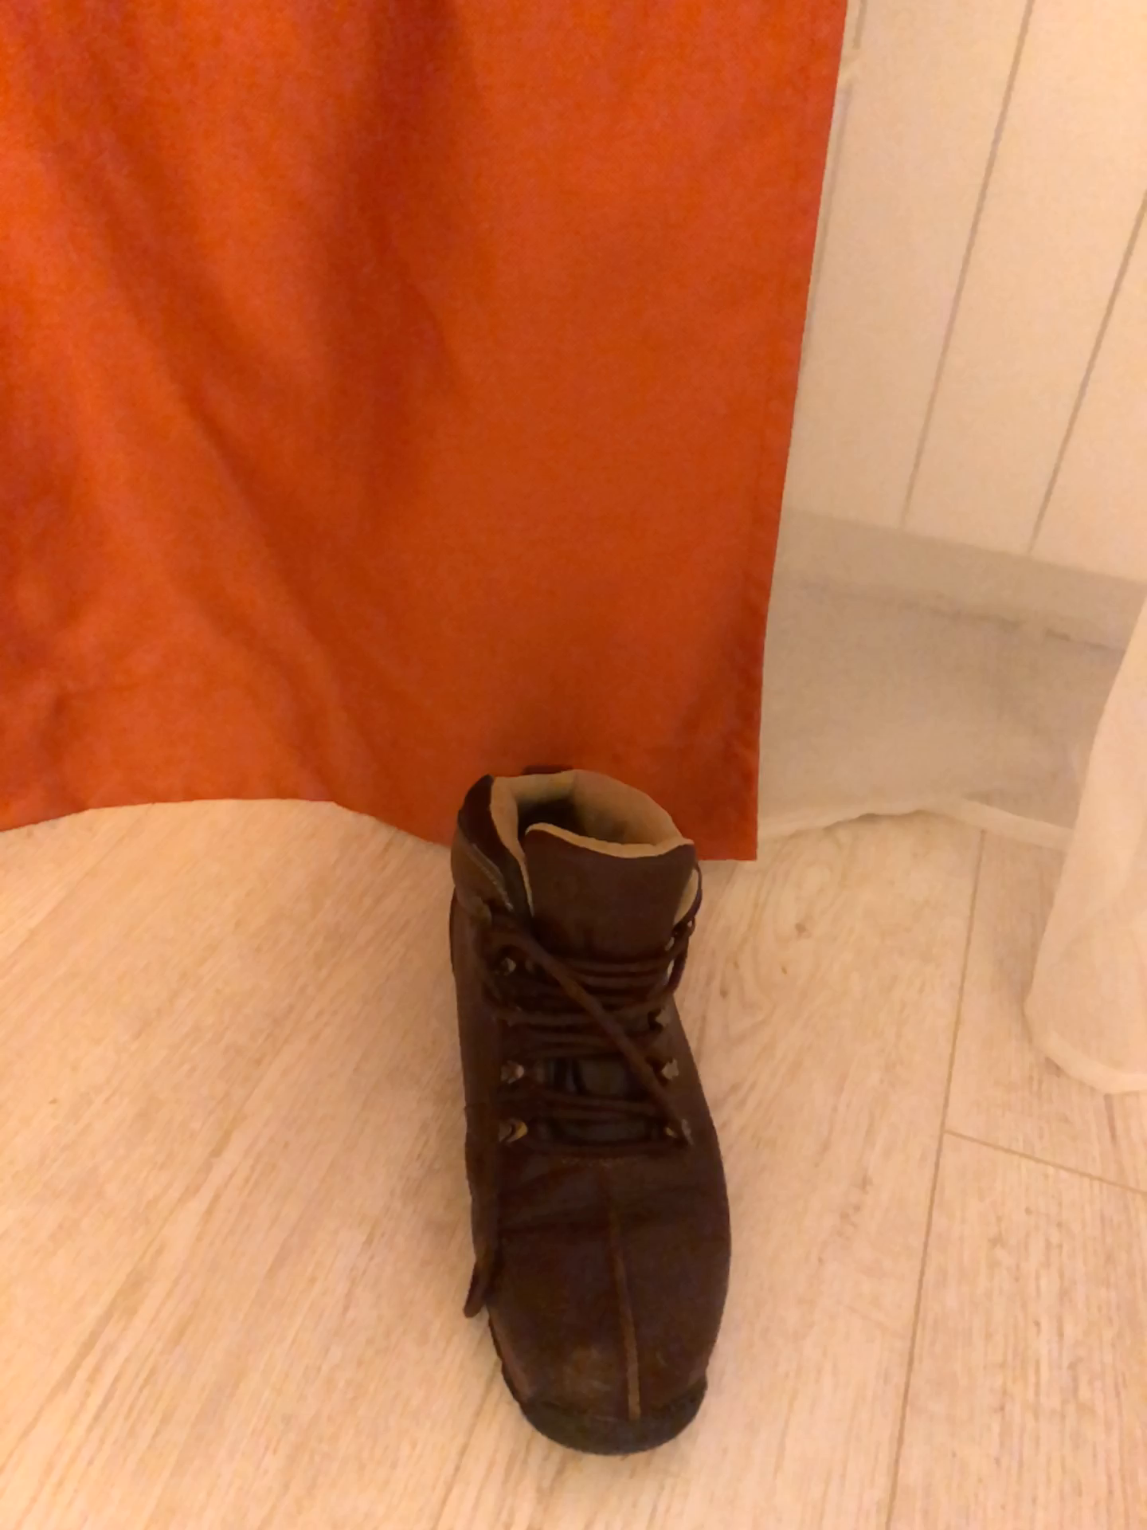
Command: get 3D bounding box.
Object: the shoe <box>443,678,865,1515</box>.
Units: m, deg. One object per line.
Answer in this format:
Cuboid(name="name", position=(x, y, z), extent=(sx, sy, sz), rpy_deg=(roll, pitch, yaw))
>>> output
Cuboid(name="shoe", position=(0.008, 0.116, 0.537), extent=(0.110, 0.159, 0.302), rpy_deg=(-2, 39, -8))
